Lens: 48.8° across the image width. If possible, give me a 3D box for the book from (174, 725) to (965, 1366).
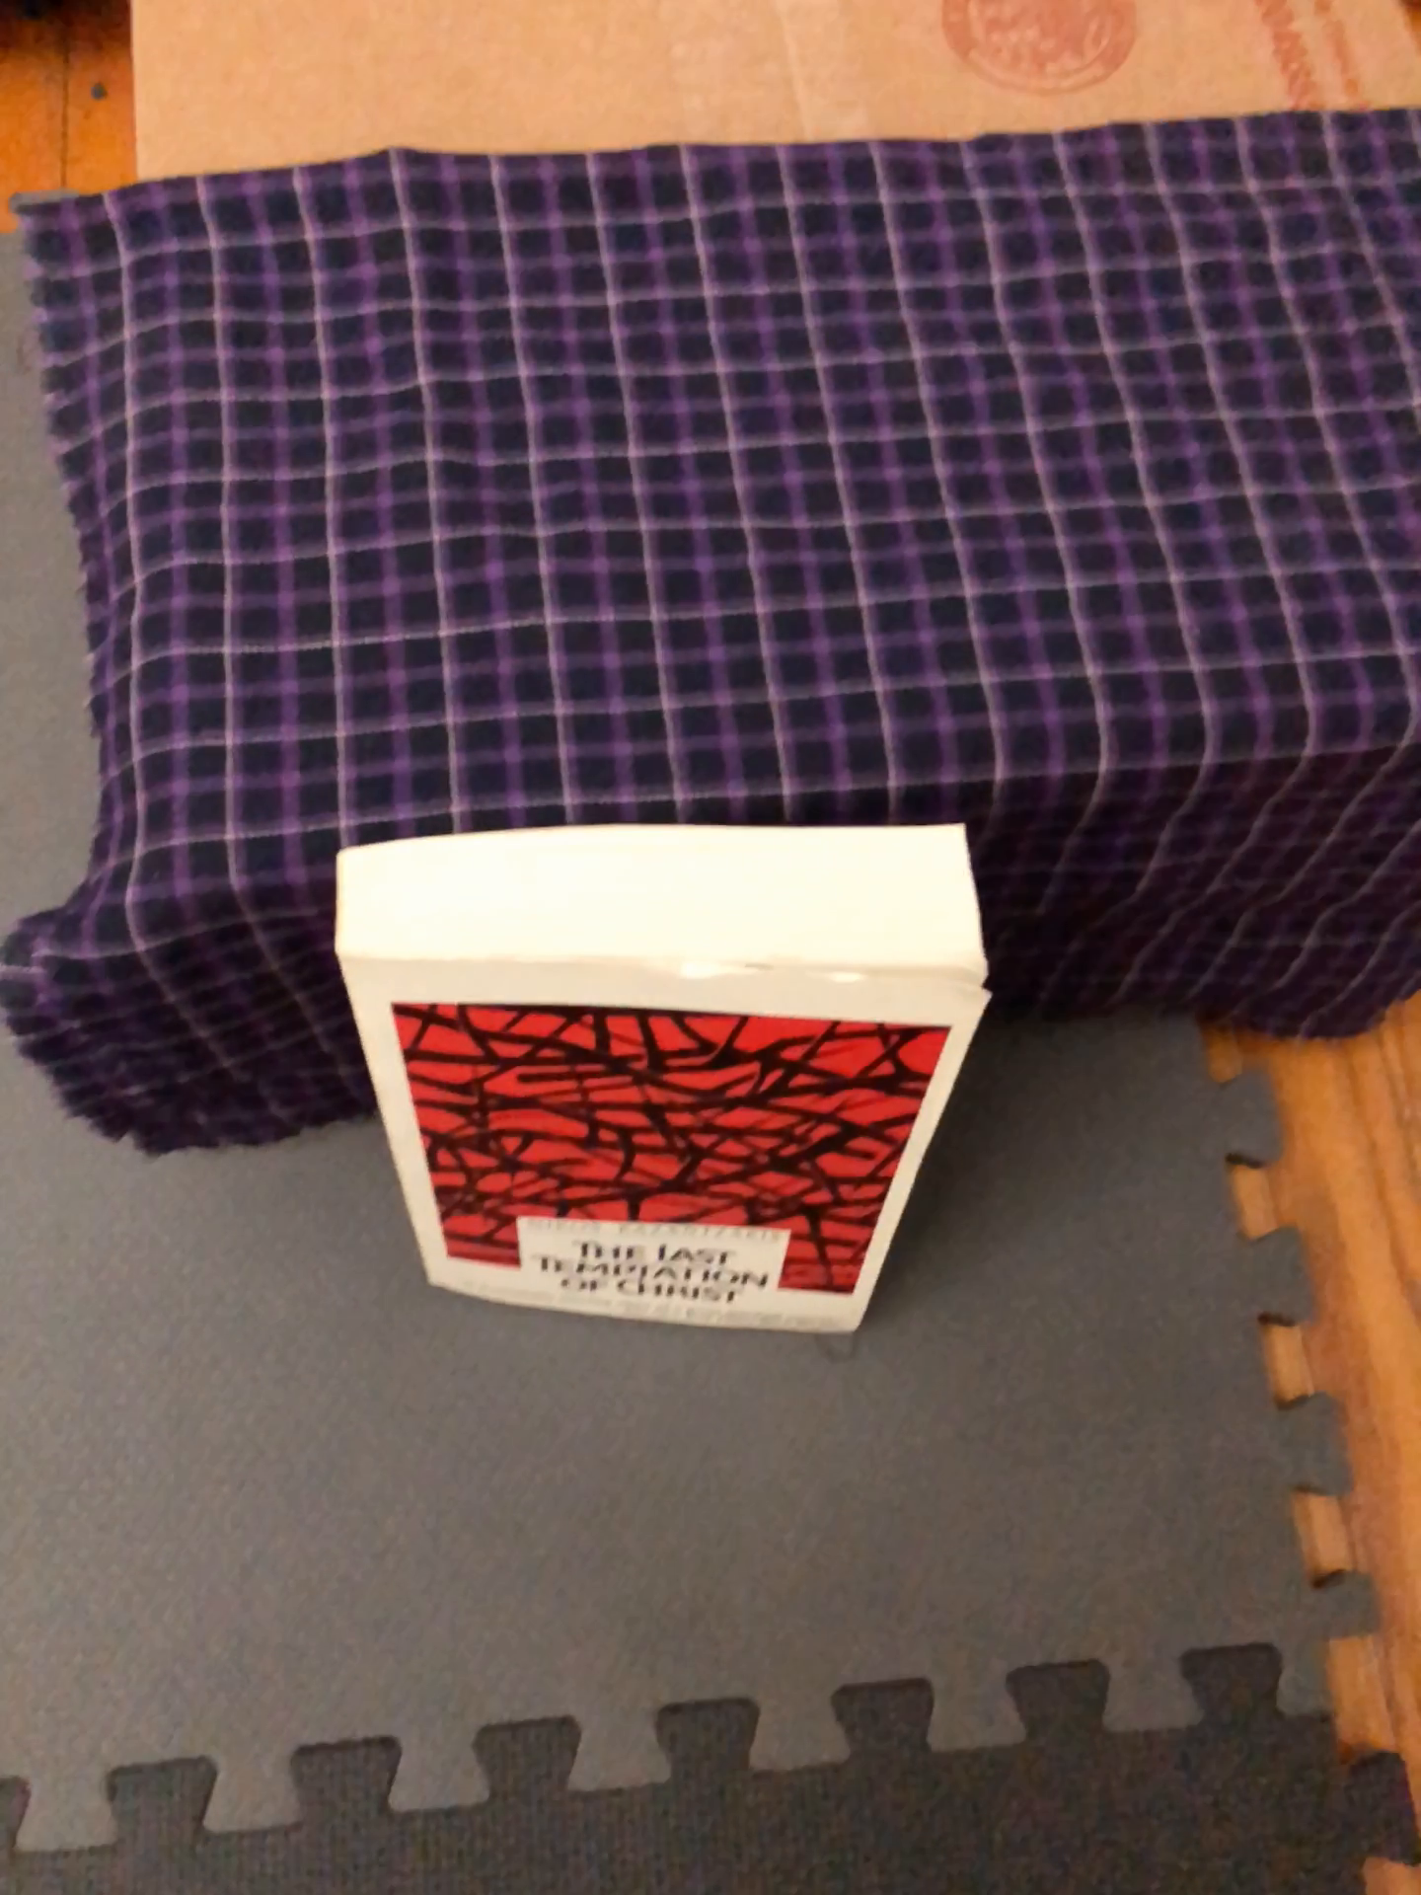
[{"bbox_3d":[-0.027,0.040,0.402,0.150,0.210,0.050,9,60,6],"label":"book"}]
